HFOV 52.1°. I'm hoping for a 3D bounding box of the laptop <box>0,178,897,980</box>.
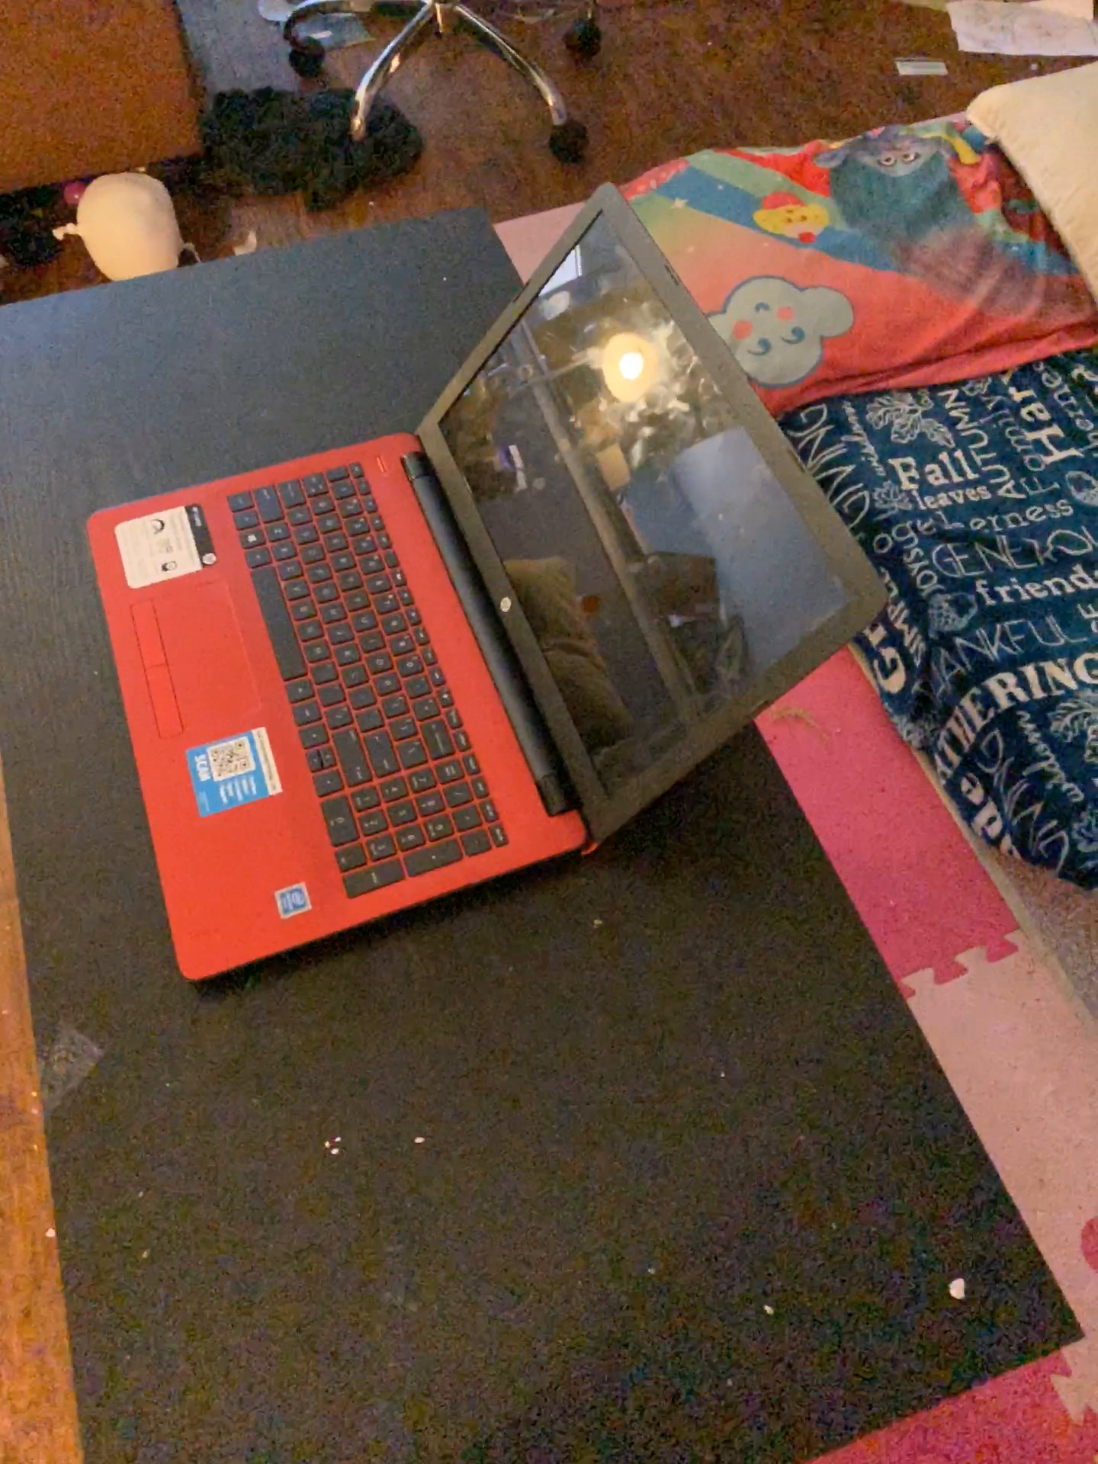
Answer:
[{"bbox_3d":[-0.082,-0.115,0.704,0.409,0.170,0.376,-19,60,-10],"label":"laptop"}]
